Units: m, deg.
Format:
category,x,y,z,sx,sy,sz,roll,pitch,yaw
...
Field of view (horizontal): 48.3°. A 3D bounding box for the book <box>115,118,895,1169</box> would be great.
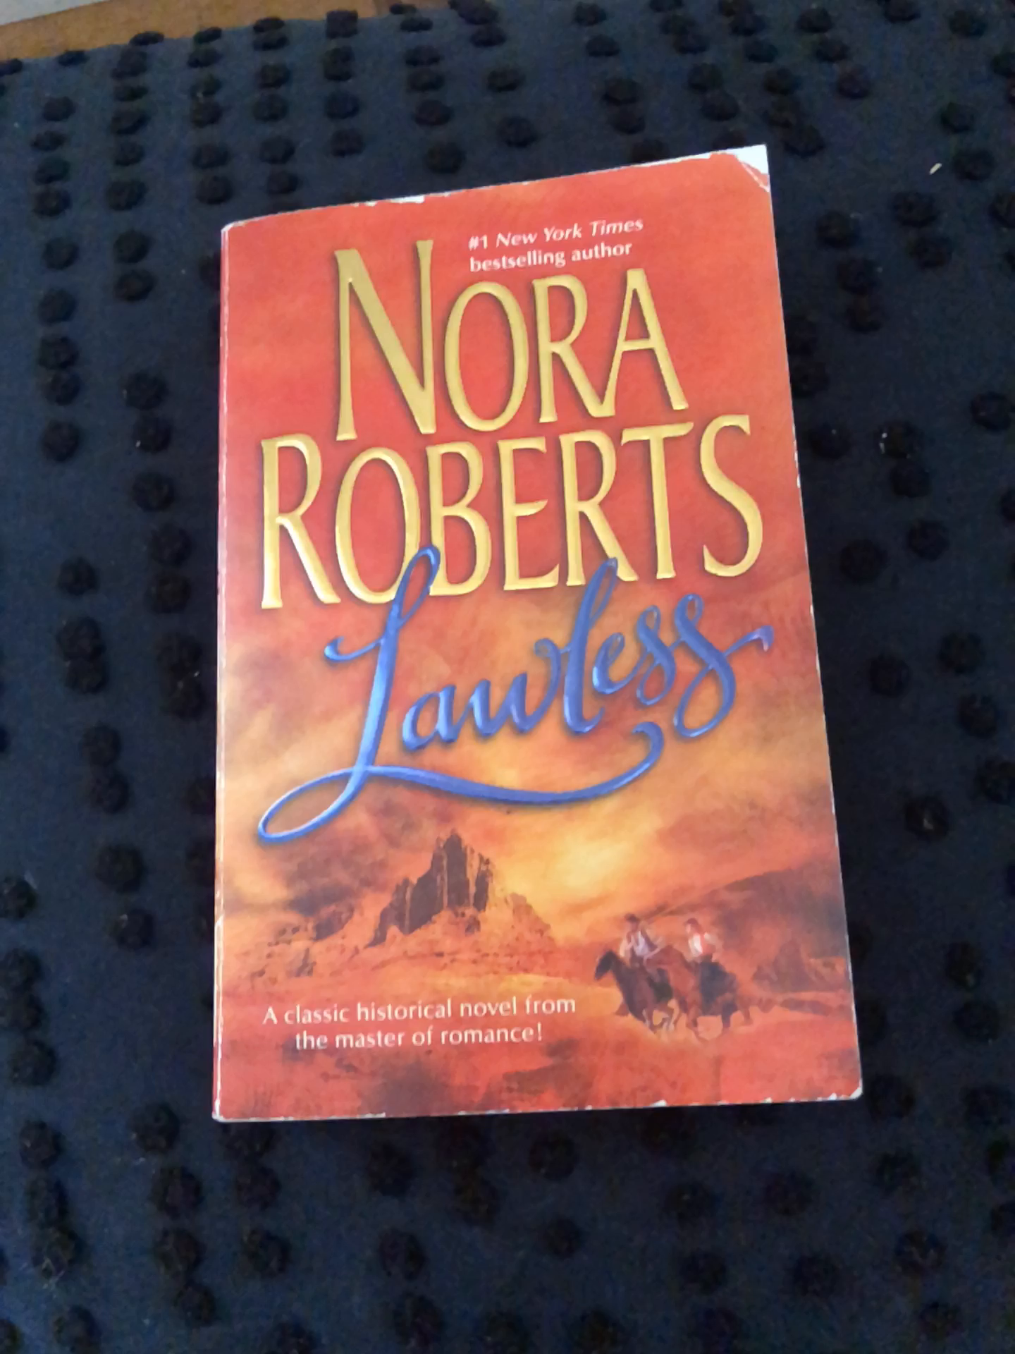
category,x,y,z,sx,sy,sz,roll,pitch,yaw
book,-0.005,-0.011,0.214,0.120,0.040,0.180,-3,77,0
